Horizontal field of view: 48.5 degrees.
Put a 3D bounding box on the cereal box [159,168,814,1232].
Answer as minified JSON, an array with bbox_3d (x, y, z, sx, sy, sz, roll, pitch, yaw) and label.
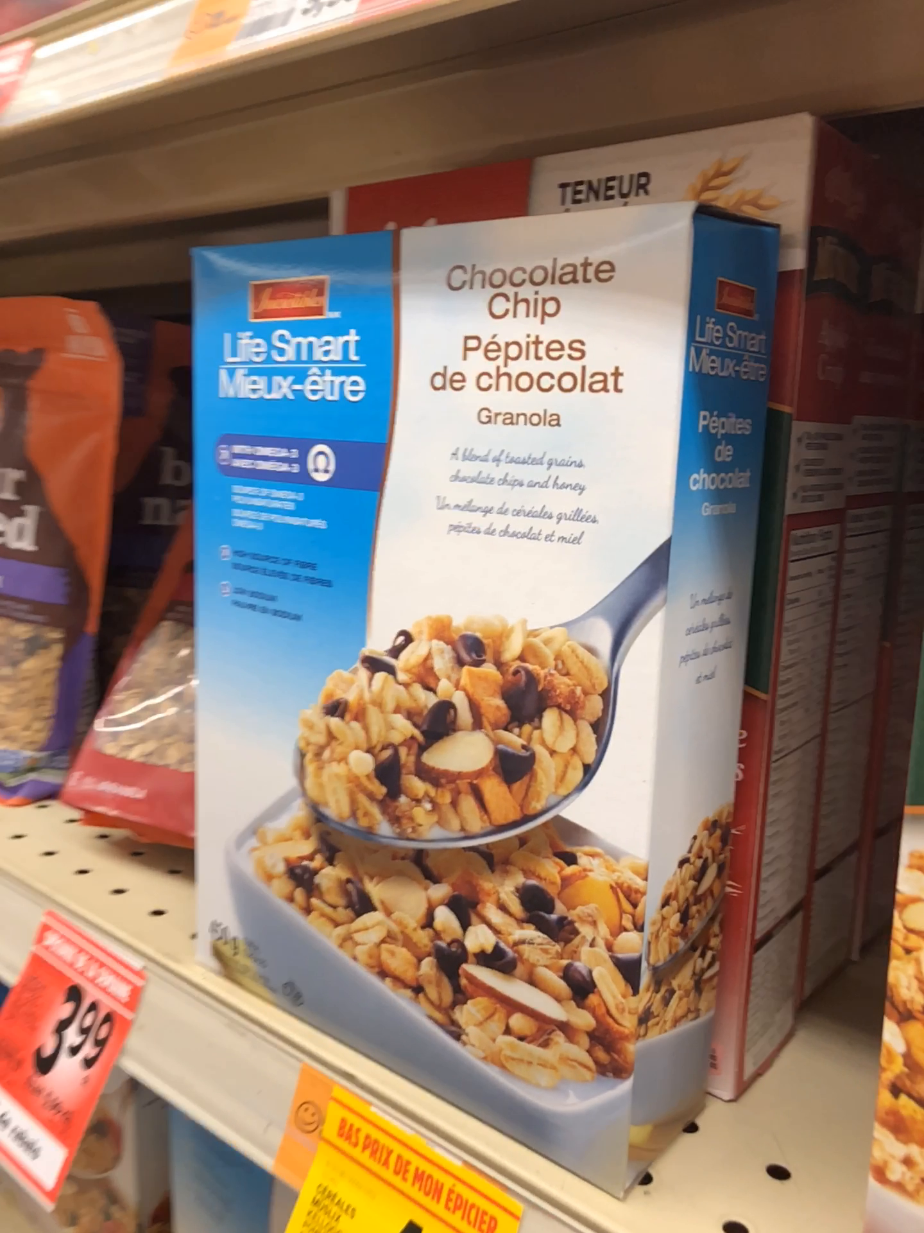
[{"bbox_3d":[-0.009,0.012,0.298,0.180,0.239,0.050,10,10,37],"label":"cereal box"}]
